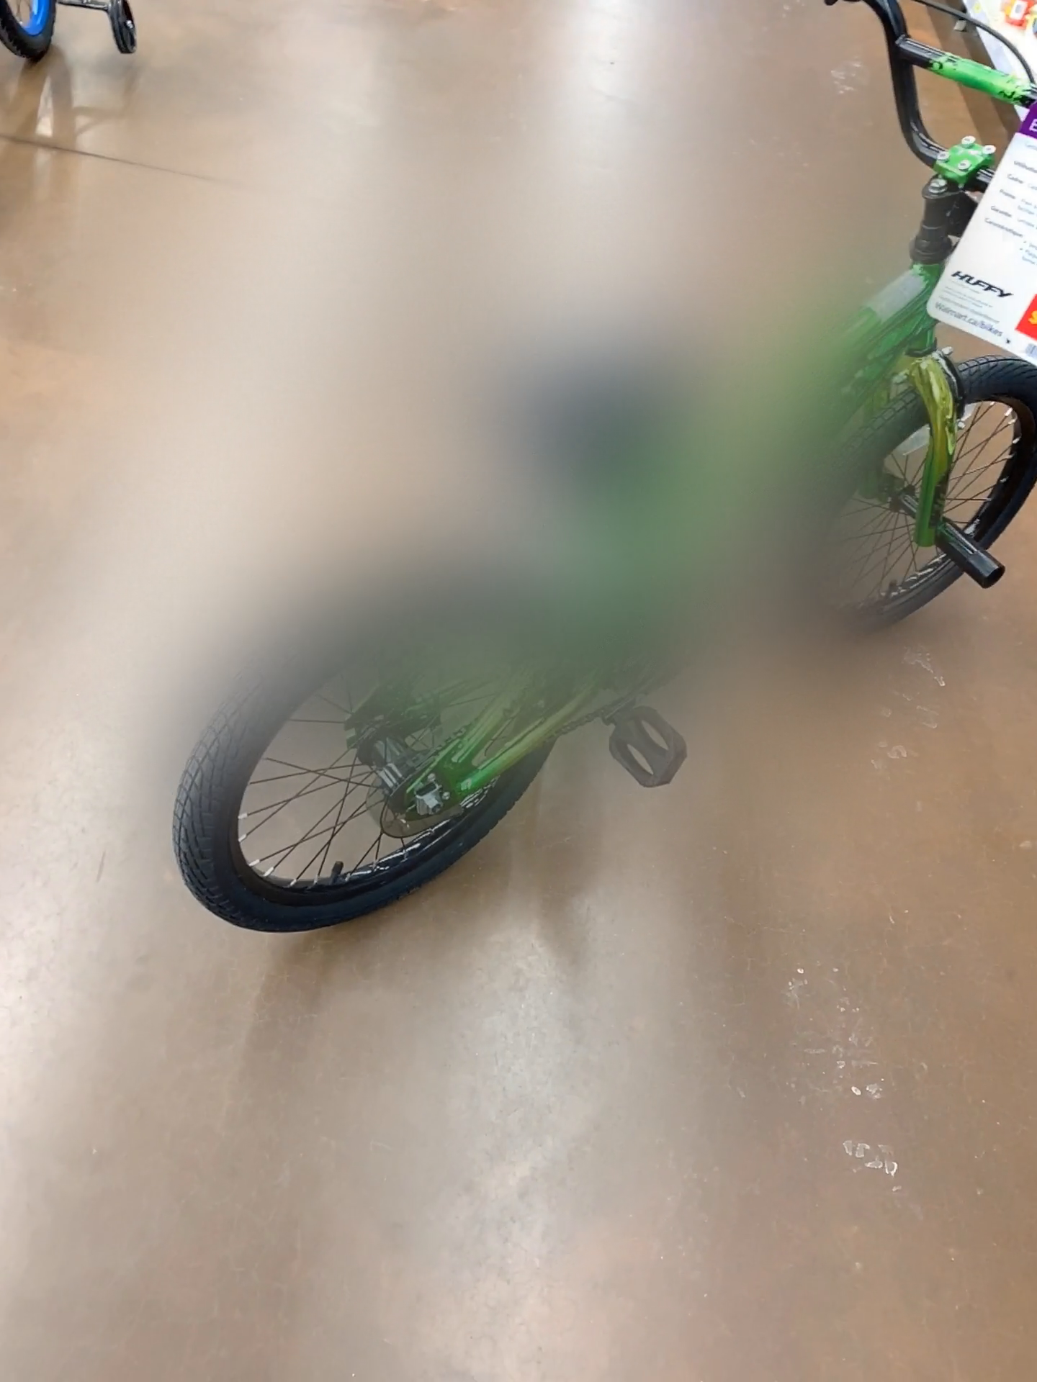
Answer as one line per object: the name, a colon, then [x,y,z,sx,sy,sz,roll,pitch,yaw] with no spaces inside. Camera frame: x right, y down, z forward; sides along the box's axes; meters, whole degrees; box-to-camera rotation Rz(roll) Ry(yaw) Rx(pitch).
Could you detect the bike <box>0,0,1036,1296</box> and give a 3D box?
bike: [0.369,-0.211,1.126,1.408,1.034,0.718,-26,58,-22]
